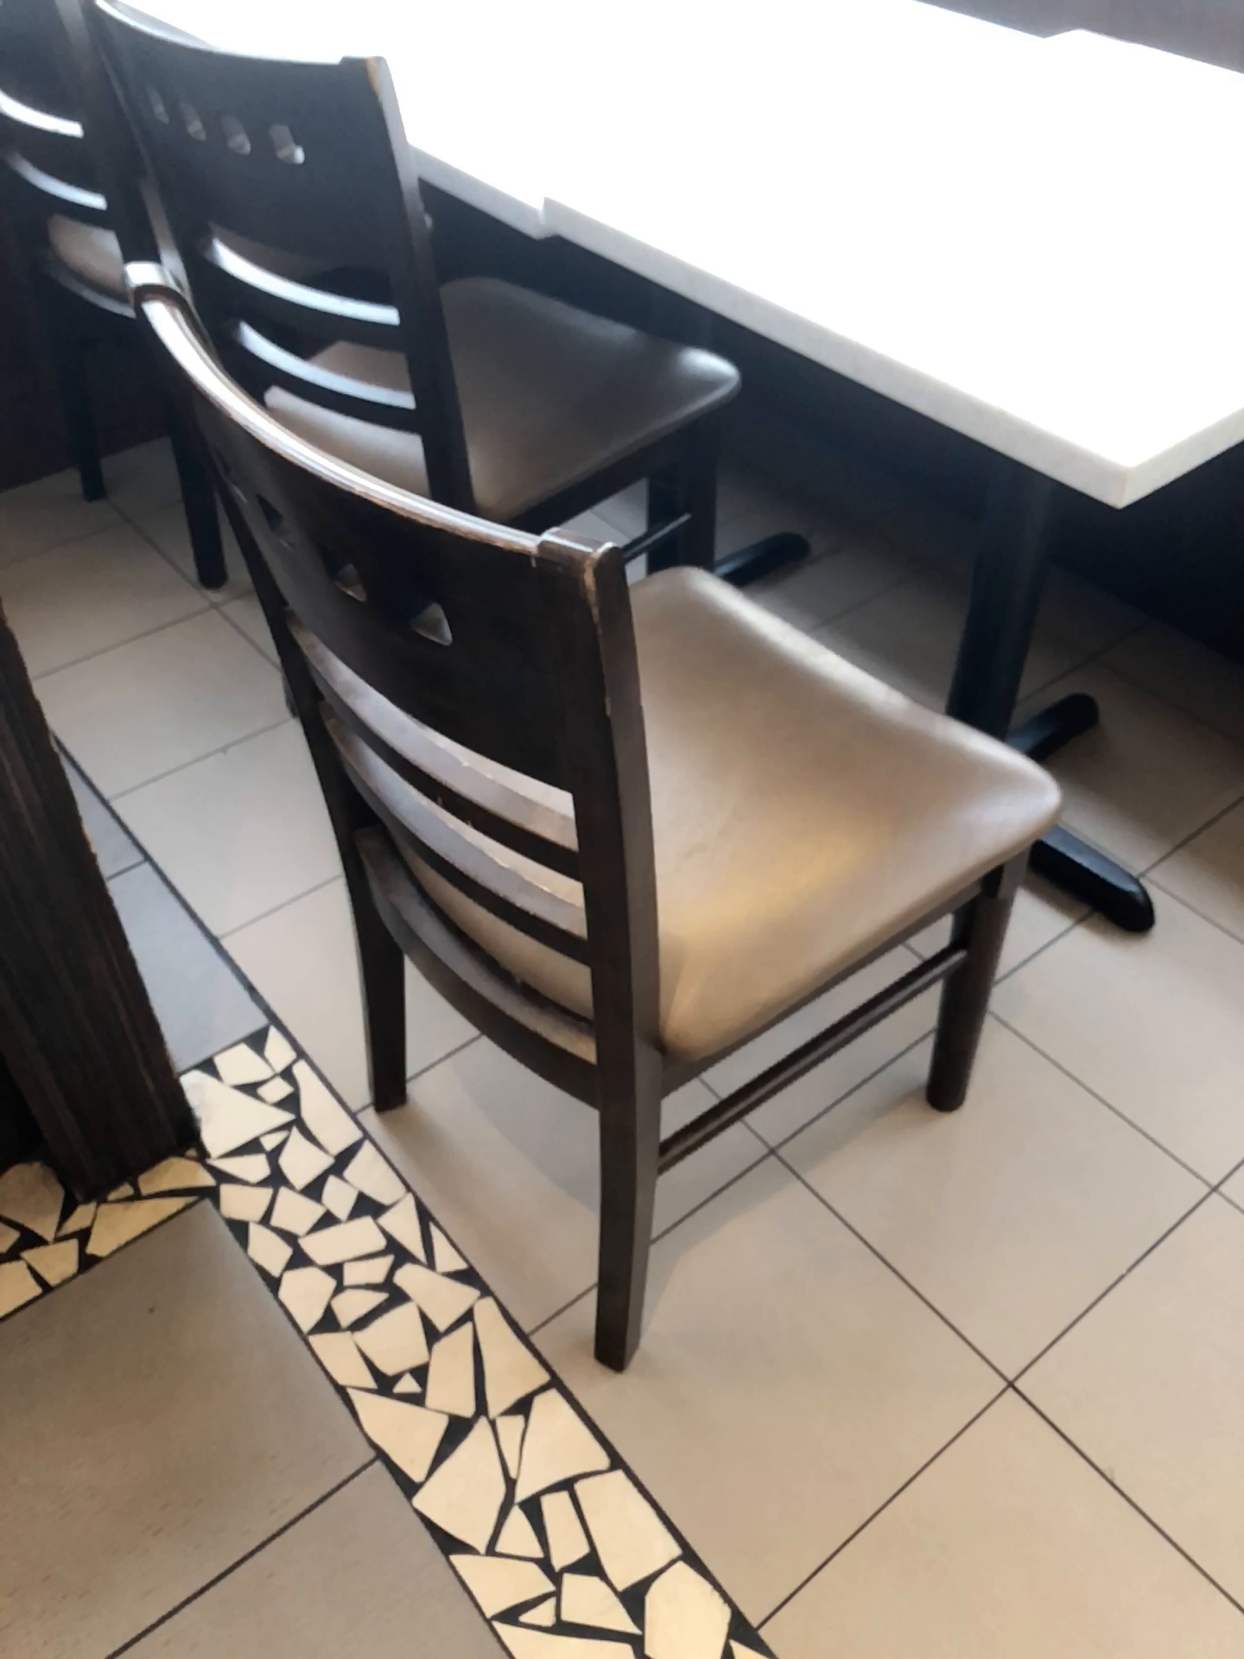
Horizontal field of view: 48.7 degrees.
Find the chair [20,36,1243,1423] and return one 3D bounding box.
[{"bbox_3d":[0.037,-0.076,1.013,0.571,0.715,0.472,-30,52,-26],"label":"chair"}]
